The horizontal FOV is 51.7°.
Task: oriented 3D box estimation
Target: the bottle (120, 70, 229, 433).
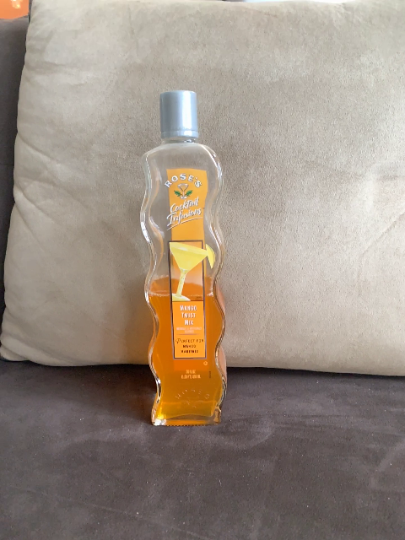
[{"bbox_3d":[-0.019,-0.011,0.381,0.080,0.299,0.080,-1,12,0],"label":"bottle"}]
